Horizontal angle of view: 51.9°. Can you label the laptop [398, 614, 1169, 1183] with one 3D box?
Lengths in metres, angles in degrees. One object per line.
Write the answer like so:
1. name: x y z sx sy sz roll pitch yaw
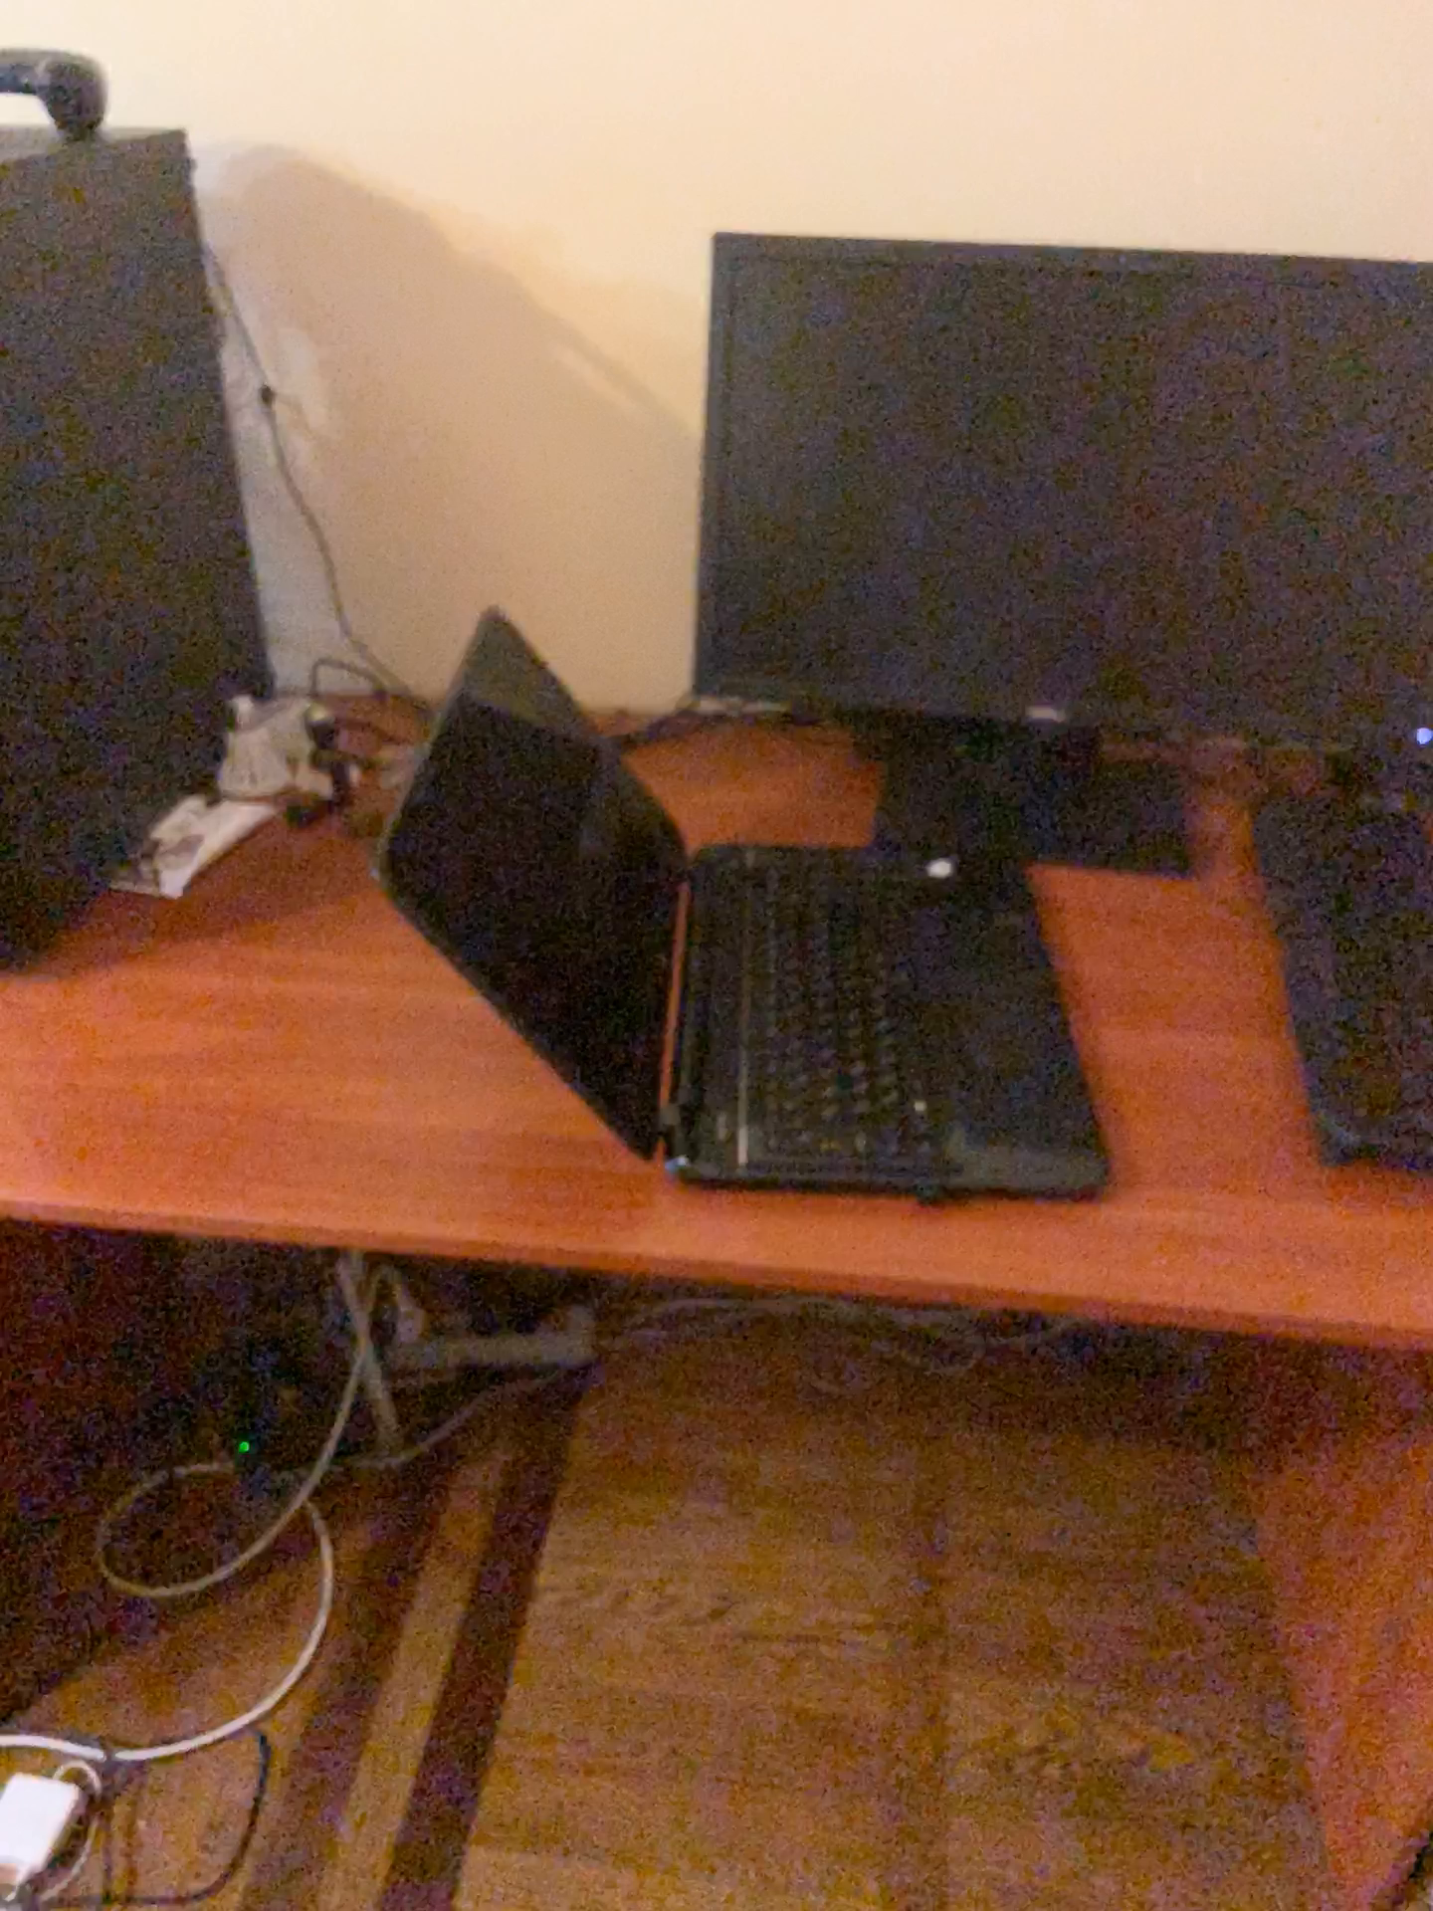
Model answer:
1. laptop: 0.034 -0.058 0.905 0.368 0.181 0.368 1 33 3
